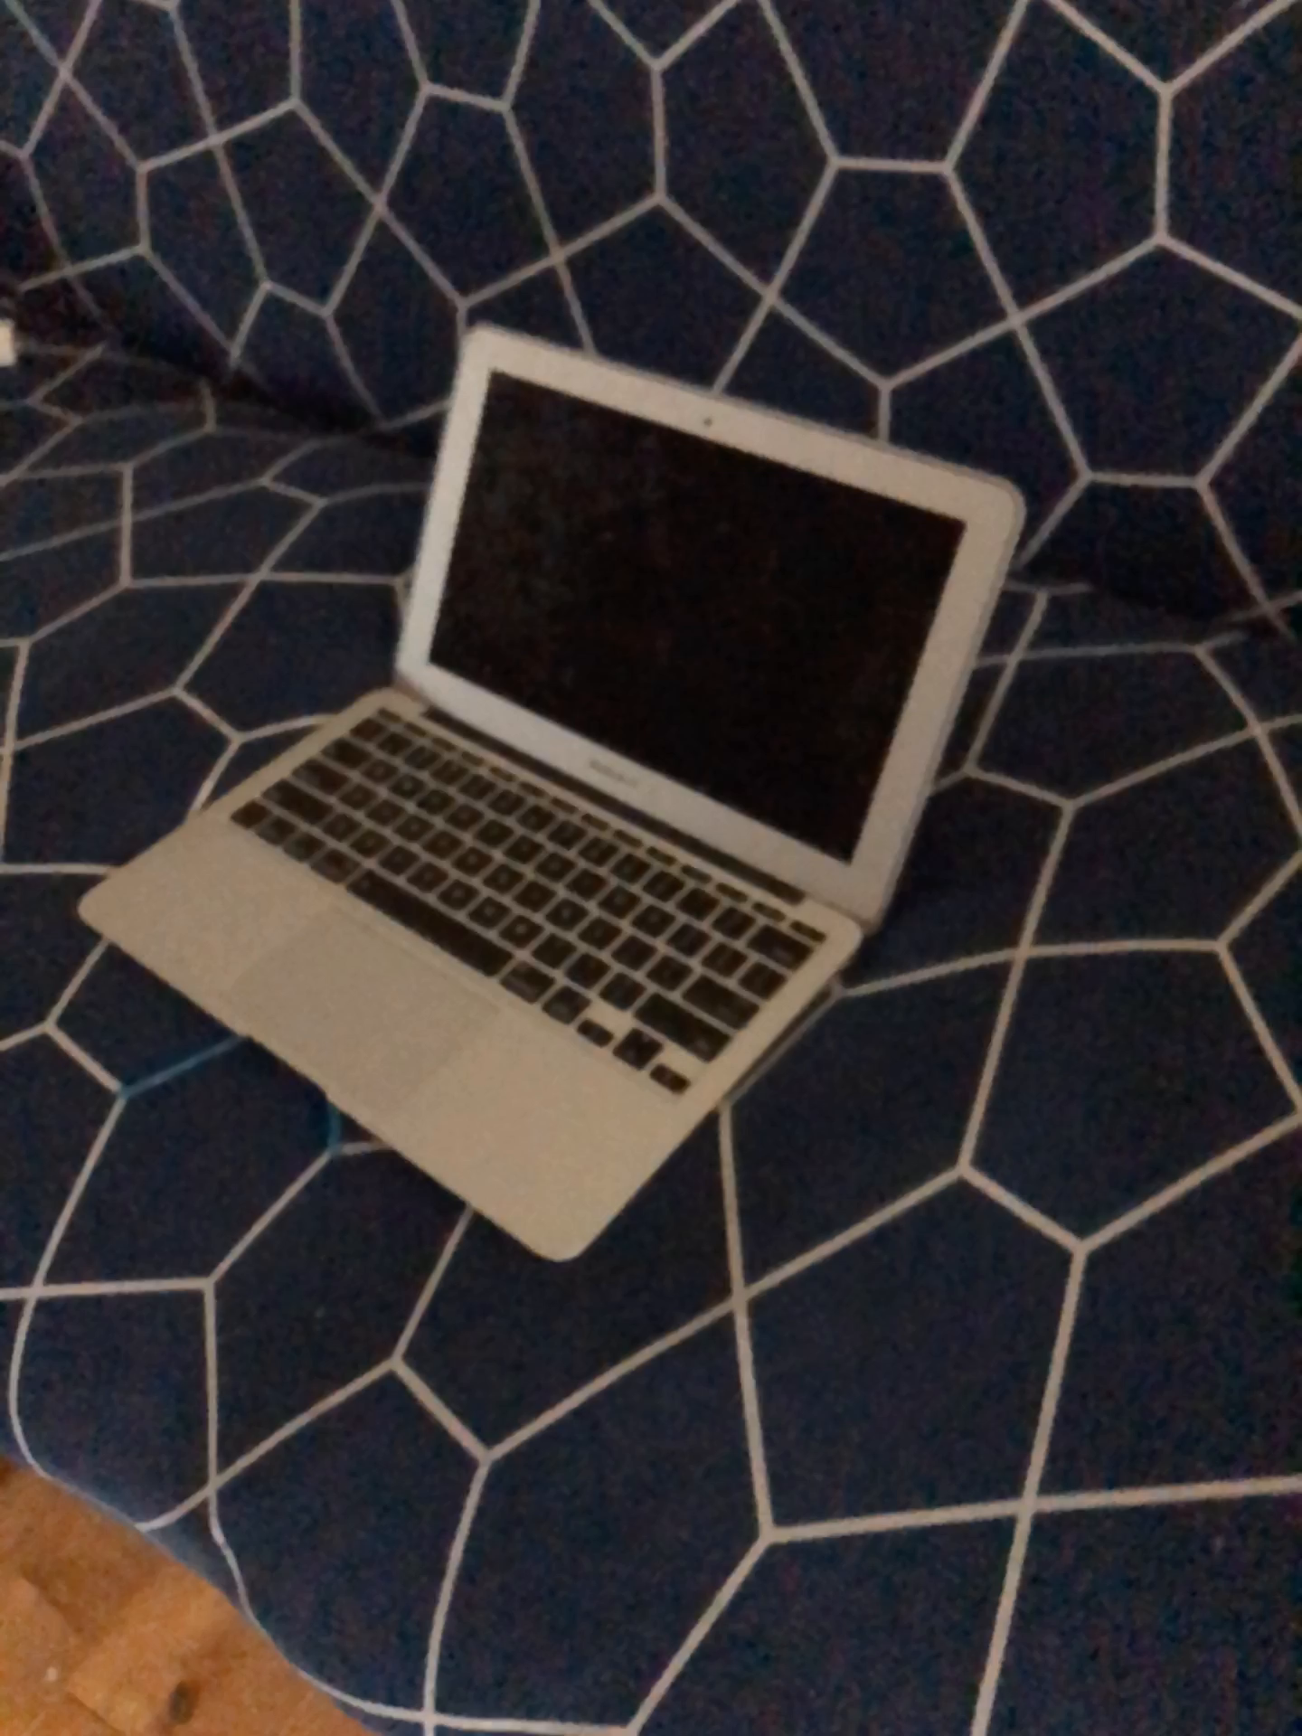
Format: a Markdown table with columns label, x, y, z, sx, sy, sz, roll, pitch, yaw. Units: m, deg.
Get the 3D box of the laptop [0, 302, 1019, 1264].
| label | x | y | z | sx | sy | sz | roll | pitch | yaw |
| --- | --- | --- | --- | --- | --- | --- | --- | --- | --- |
| laptop | -0.056 | -0.064 | 0.579 | 0.282 | 0.156 | 0.280 | 28 | 53 | 29 |
